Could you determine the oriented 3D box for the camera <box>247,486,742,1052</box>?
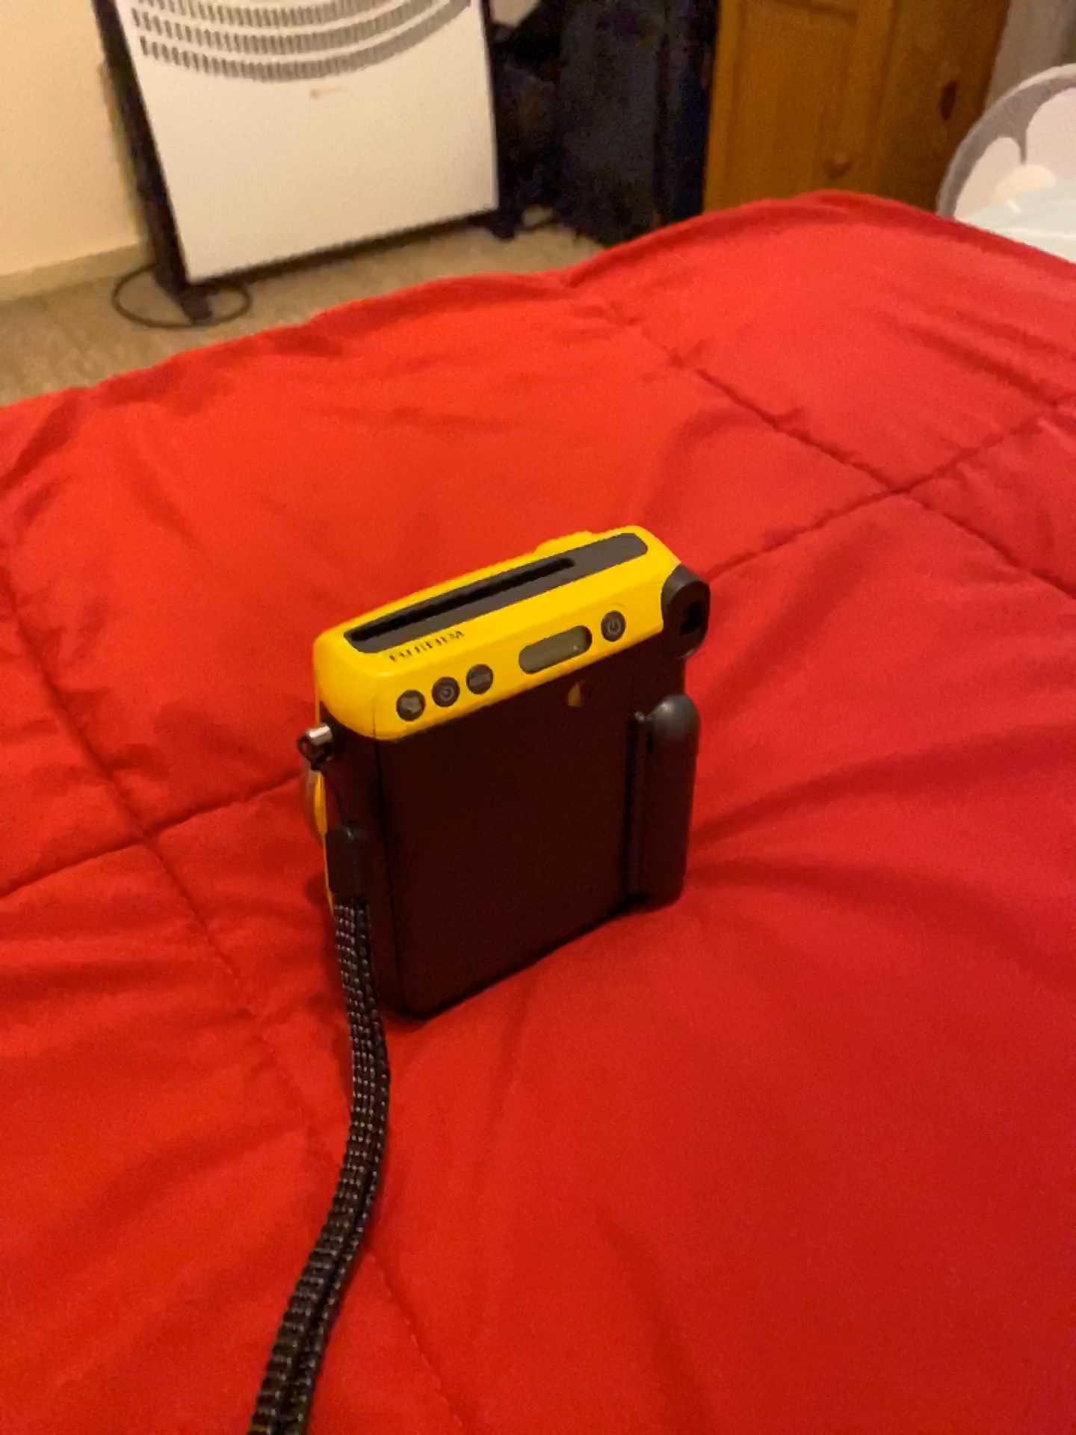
[{"bbox_3d":[-0.010,0.012,0.282,0.095,0.103,0.057,-23,46,-25],"label":"camera"}]
